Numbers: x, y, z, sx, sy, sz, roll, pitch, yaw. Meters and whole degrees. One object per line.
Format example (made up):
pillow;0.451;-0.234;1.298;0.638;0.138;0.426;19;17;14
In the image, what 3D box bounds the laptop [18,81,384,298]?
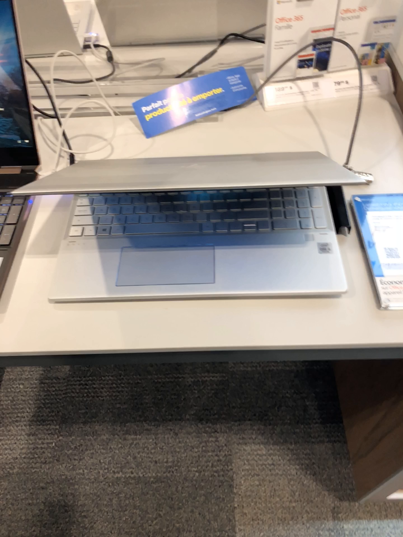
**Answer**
laptop;-0.003;-0.096;0.531;0.346;0.116;0.230;-1;55;4
